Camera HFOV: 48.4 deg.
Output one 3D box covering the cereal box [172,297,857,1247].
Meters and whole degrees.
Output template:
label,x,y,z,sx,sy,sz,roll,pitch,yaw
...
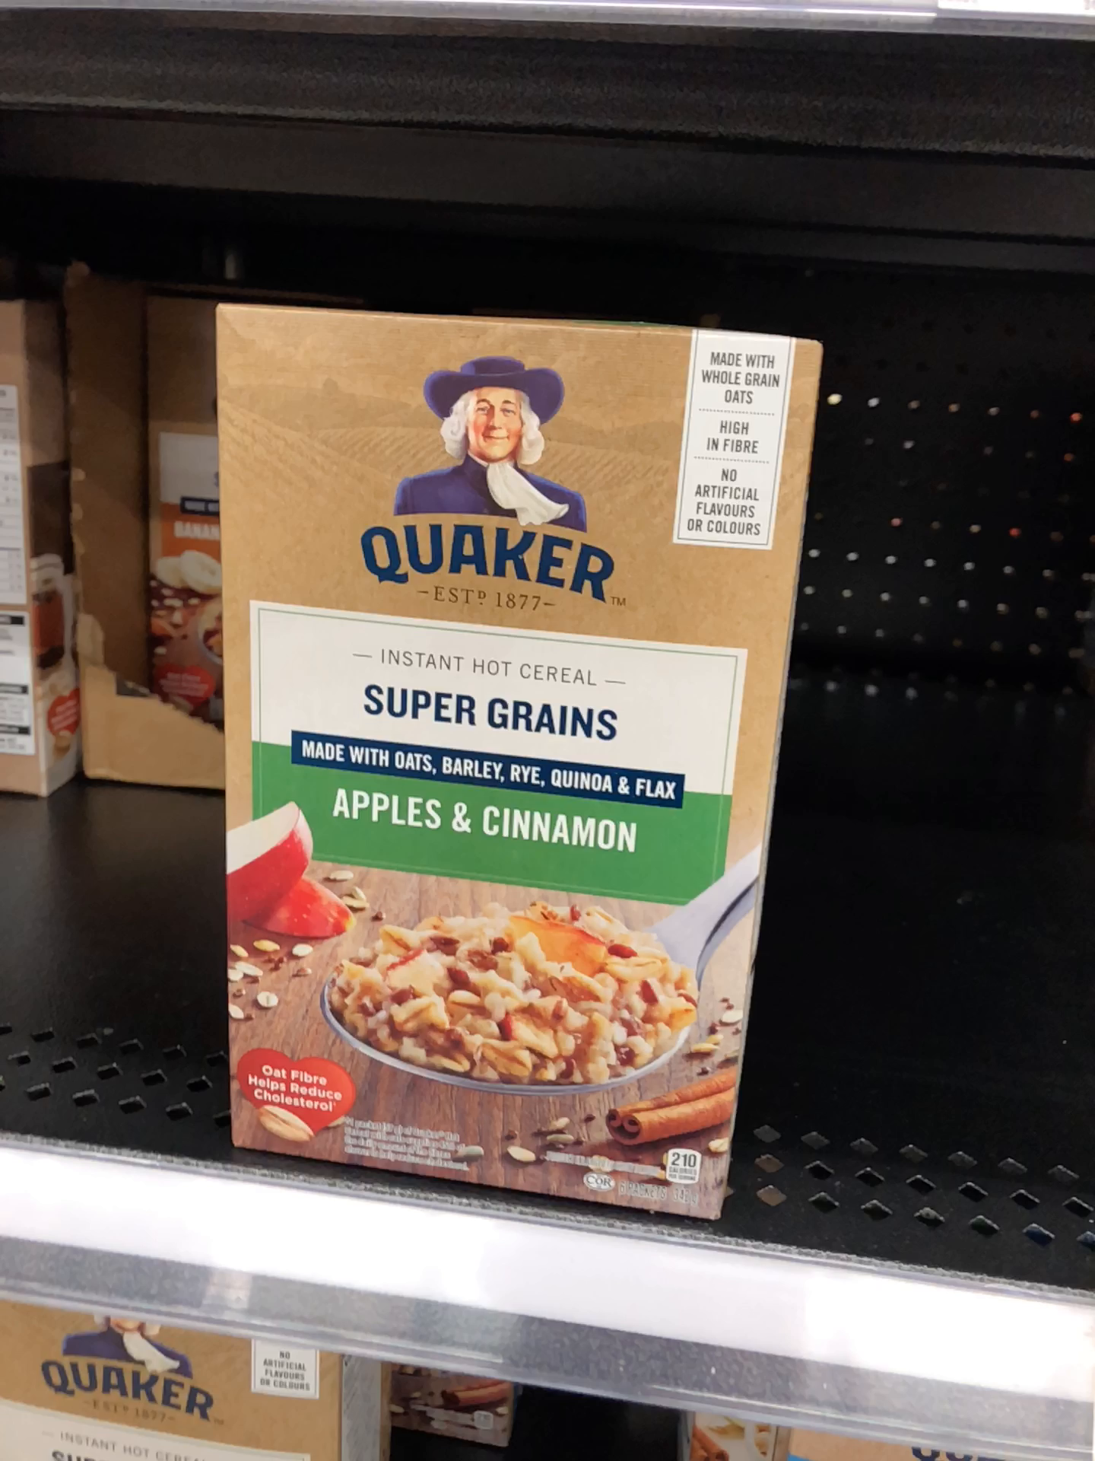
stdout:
label,x,y,z,sx,sy,sz,roll,pitch,yaw
cereal box,-0.010,0.008,0.286,0.130,0.199,0.060,6,18,7
